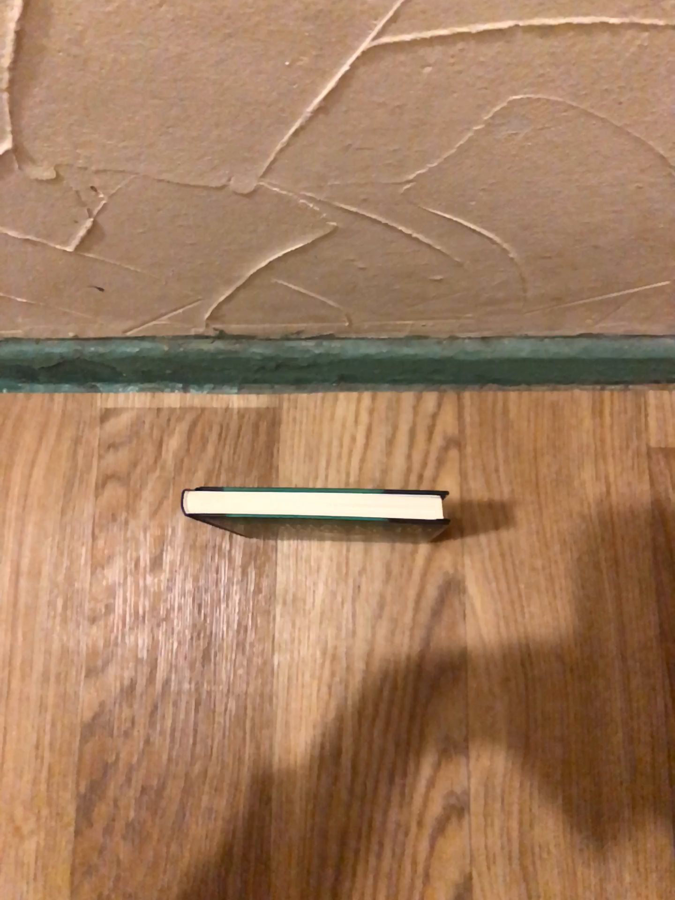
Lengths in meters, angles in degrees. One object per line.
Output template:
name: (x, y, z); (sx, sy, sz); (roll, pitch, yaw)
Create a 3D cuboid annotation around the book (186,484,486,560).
book: (0.004, 0.050, 0.465); (0.148, 0.197, 0.024); (2, 79, 3)
